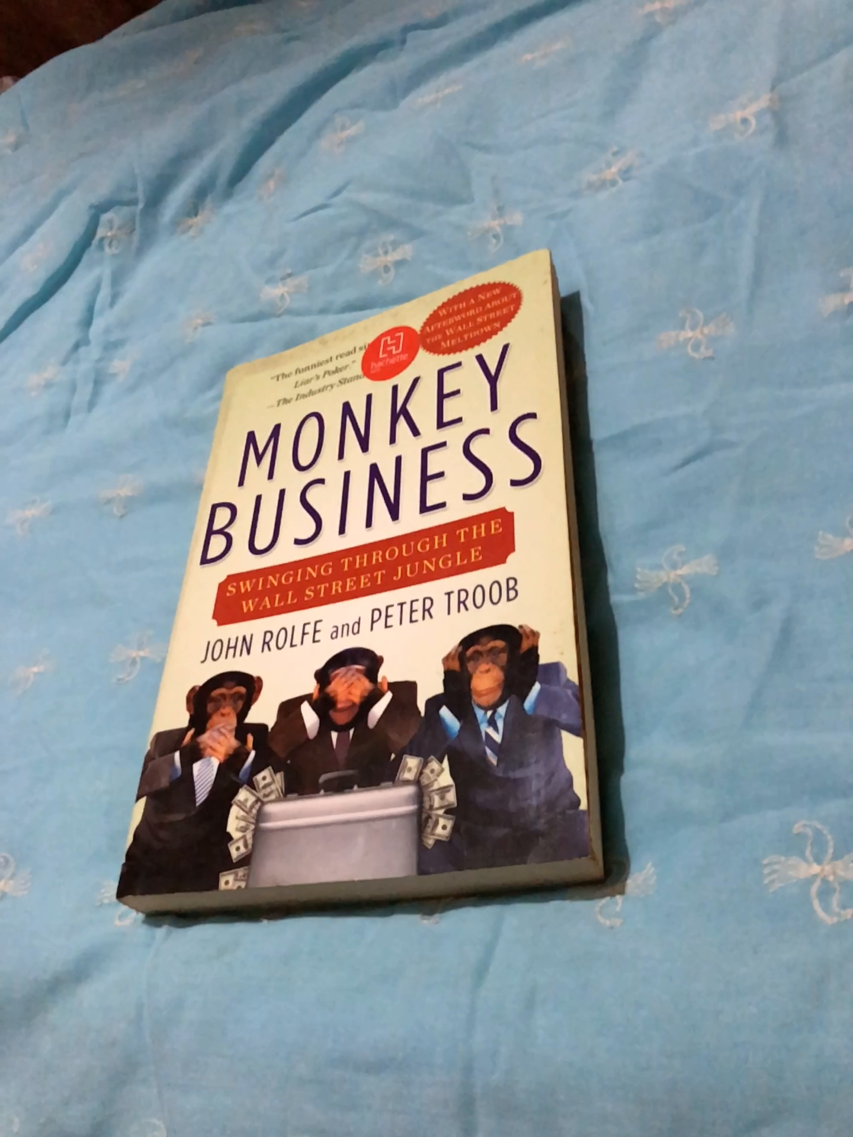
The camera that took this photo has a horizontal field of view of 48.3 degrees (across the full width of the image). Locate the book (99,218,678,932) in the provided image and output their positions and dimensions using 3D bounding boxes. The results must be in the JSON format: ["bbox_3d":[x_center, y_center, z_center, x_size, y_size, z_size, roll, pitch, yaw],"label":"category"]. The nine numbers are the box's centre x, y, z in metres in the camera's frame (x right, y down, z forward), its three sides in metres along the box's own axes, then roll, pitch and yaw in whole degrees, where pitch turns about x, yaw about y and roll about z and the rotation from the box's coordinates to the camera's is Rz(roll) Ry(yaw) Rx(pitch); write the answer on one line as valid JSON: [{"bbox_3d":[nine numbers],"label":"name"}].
[{"bbox_3d":[-0.014,-0.005,0.344,0.170,0.040,0.240,-14,54,22],"label":"book"}]
